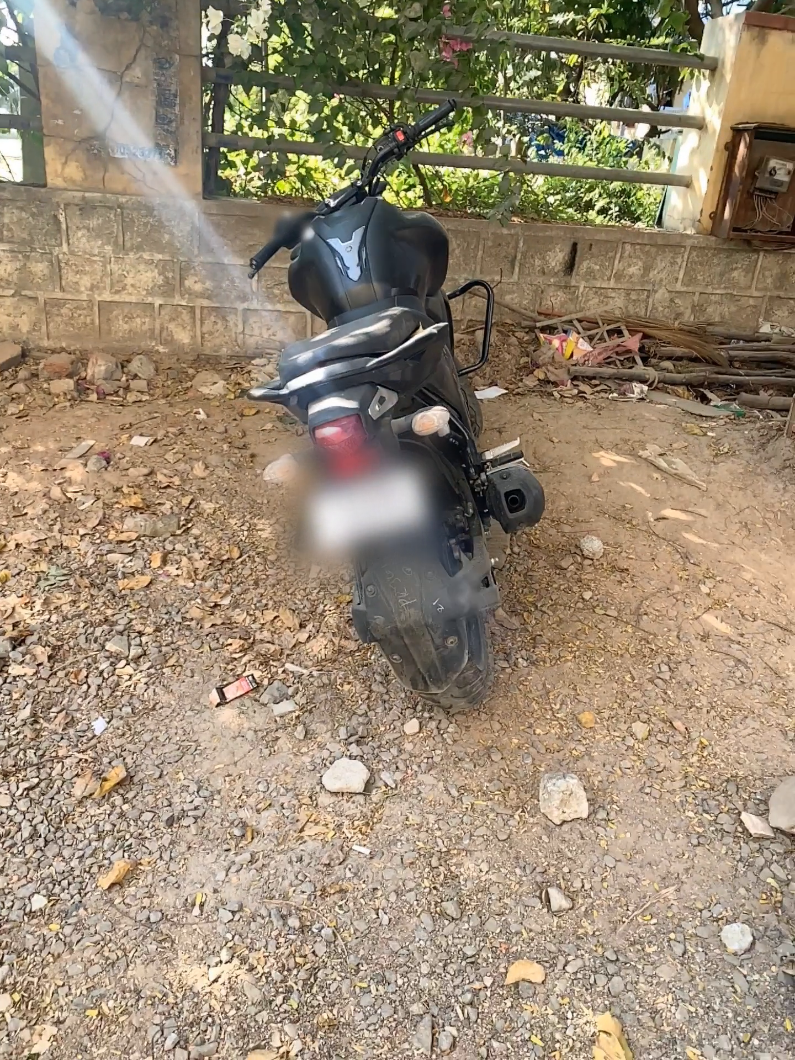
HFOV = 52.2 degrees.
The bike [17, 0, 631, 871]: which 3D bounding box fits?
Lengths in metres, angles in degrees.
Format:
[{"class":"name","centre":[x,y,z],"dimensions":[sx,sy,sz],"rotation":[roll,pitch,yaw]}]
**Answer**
[{"class":"bike","centre":[-0.230,-0.461,2.125],"dimensions":[0.818,1.499,1.764],"rotation":[2,28,-7]}]
